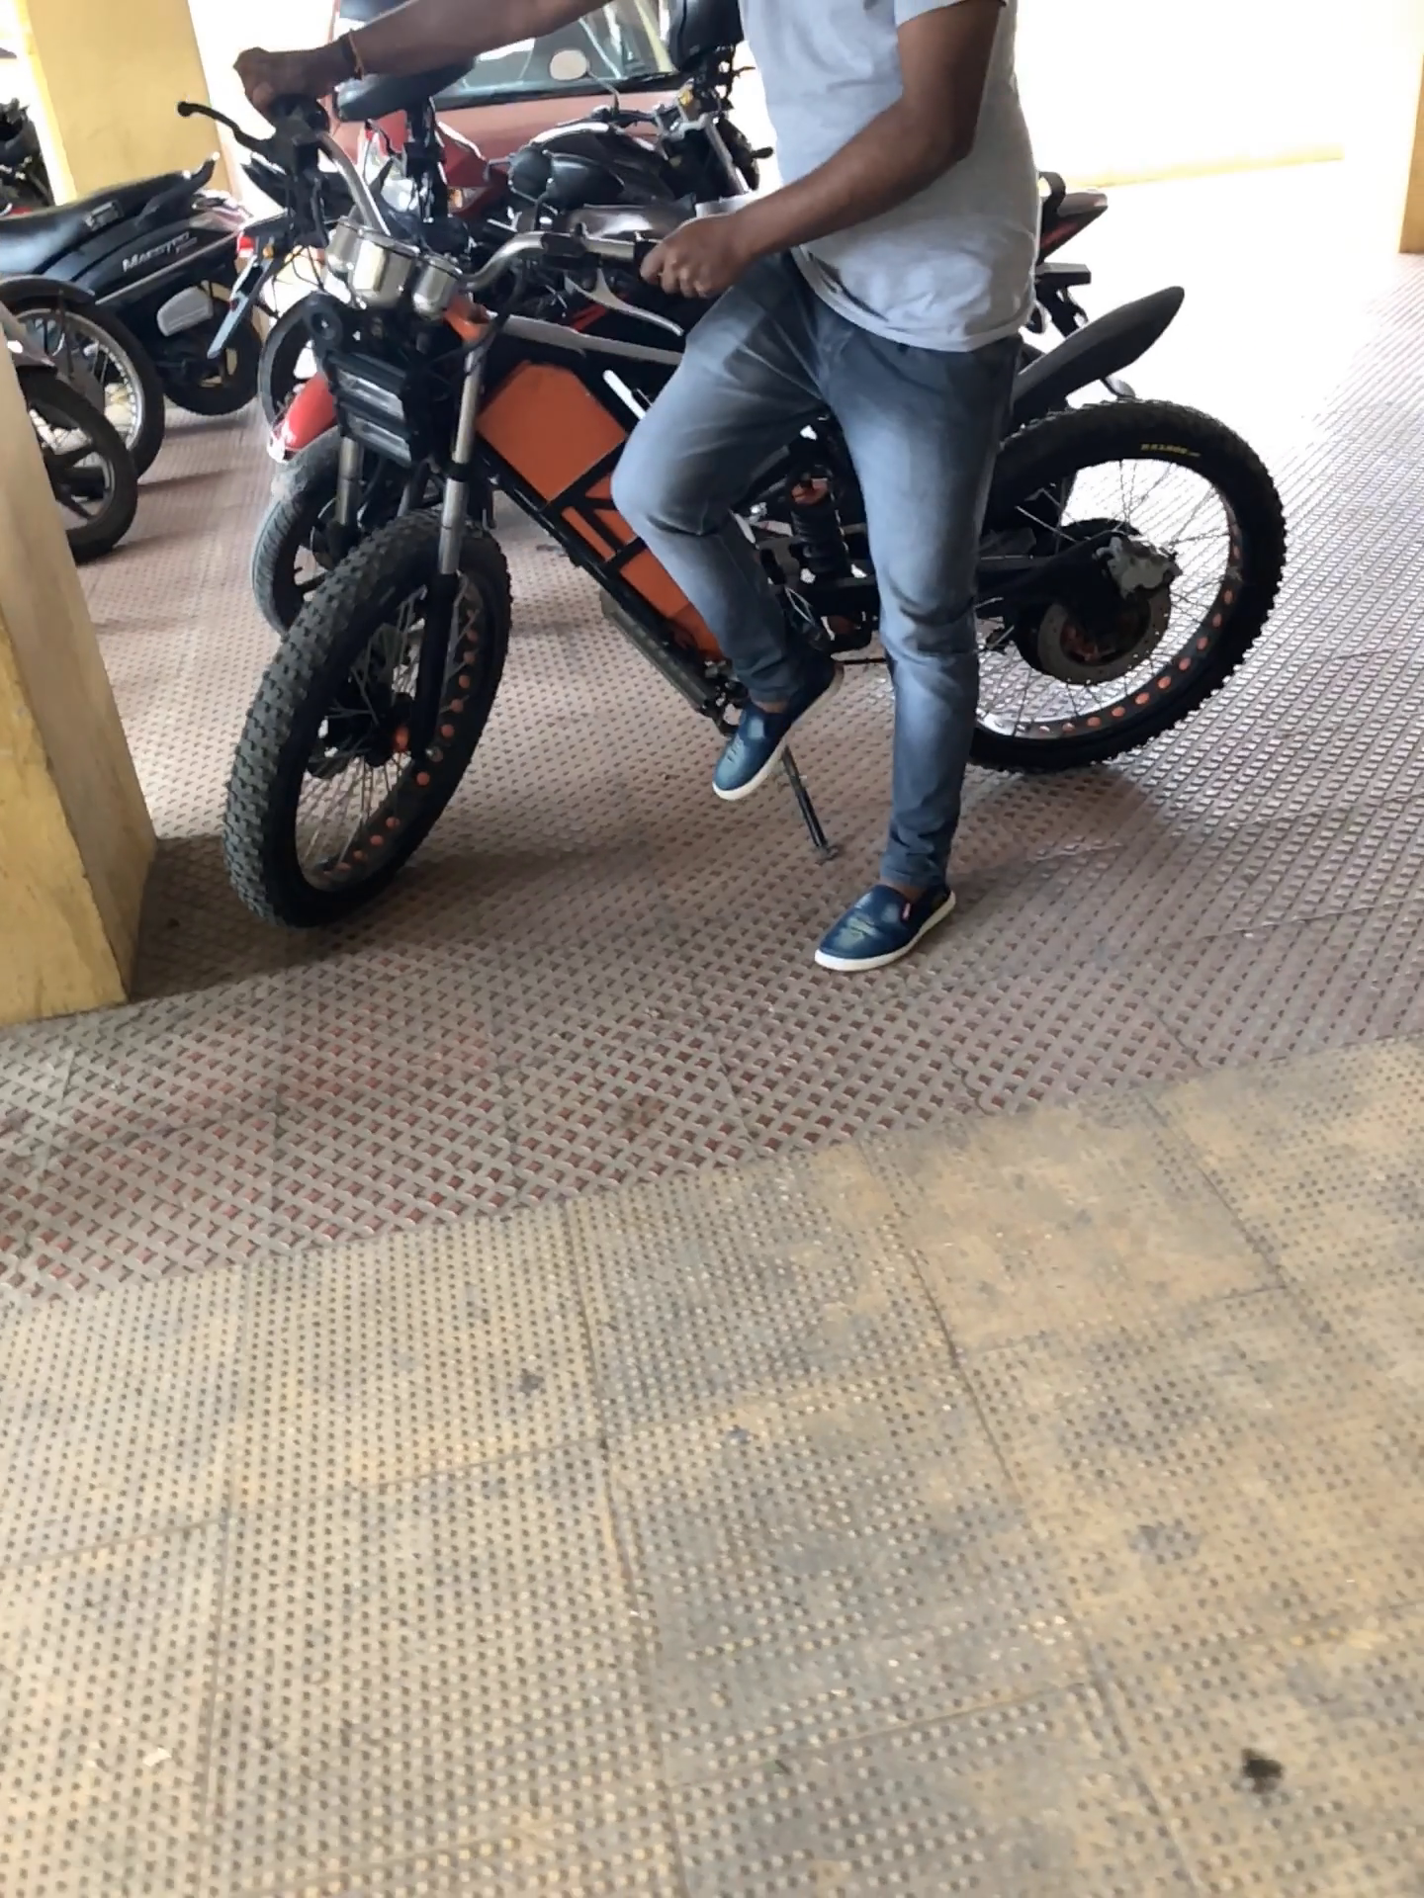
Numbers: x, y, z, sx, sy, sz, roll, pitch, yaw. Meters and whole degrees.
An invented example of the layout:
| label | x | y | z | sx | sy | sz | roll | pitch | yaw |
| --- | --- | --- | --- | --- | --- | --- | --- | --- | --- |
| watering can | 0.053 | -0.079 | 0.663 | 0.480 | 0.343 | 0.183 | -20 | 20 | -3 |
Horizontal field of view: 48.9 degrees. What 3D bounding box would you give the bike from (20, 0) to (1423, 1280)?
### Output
| label | x | y | z | sx | sy | sz | roll | pitch | yaw |
| --- | --- | --- | --- | --- | --- | --- | --- | --- | --- |
| bike | 0.121 | -0.533 | 2.246 | 1.749 | 1.184 | 0.758 | -17 | 33 | -11 |
